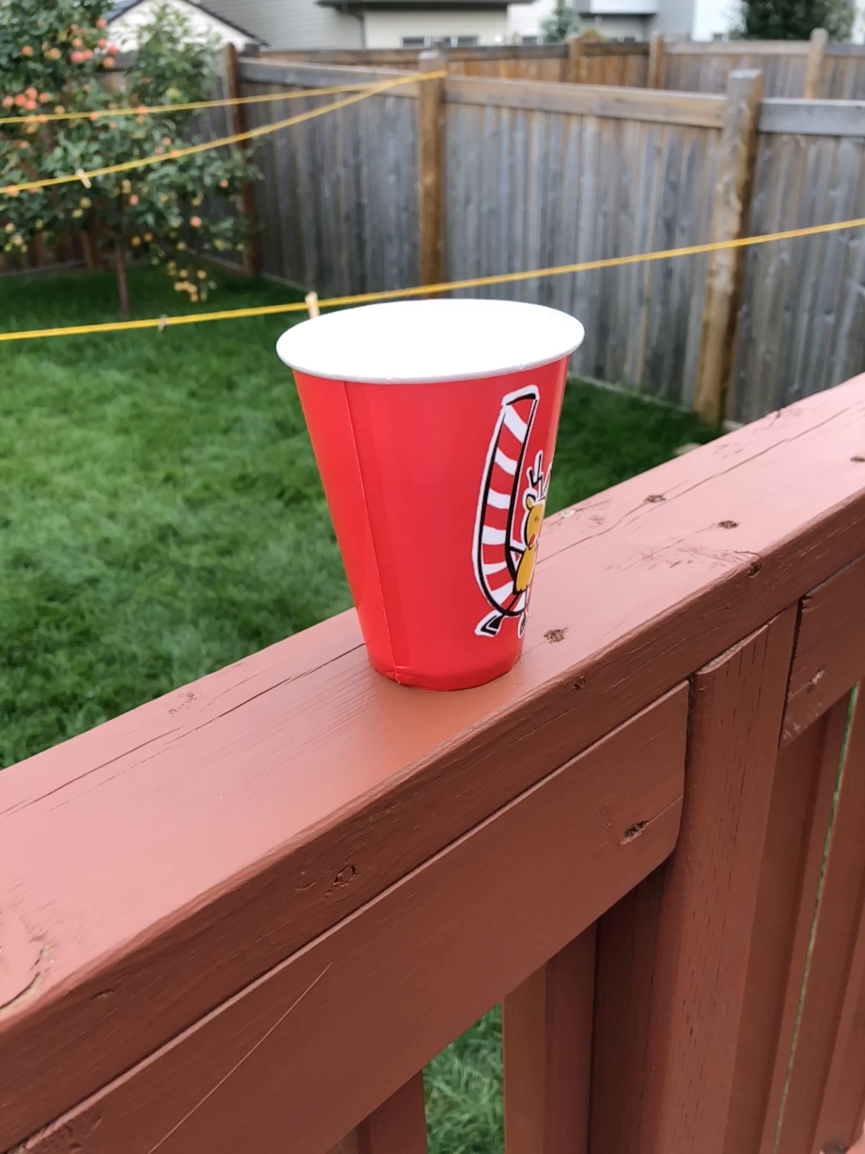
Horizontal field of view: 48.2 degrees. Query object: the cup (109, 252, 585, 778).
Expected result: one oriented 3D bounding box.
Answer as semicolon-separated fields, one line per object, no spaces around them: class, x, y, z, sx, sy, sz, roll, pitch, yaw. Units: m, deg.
cup;-0.016;-0.023;0.250;0.080;0.100;0.080;-2;28;1
